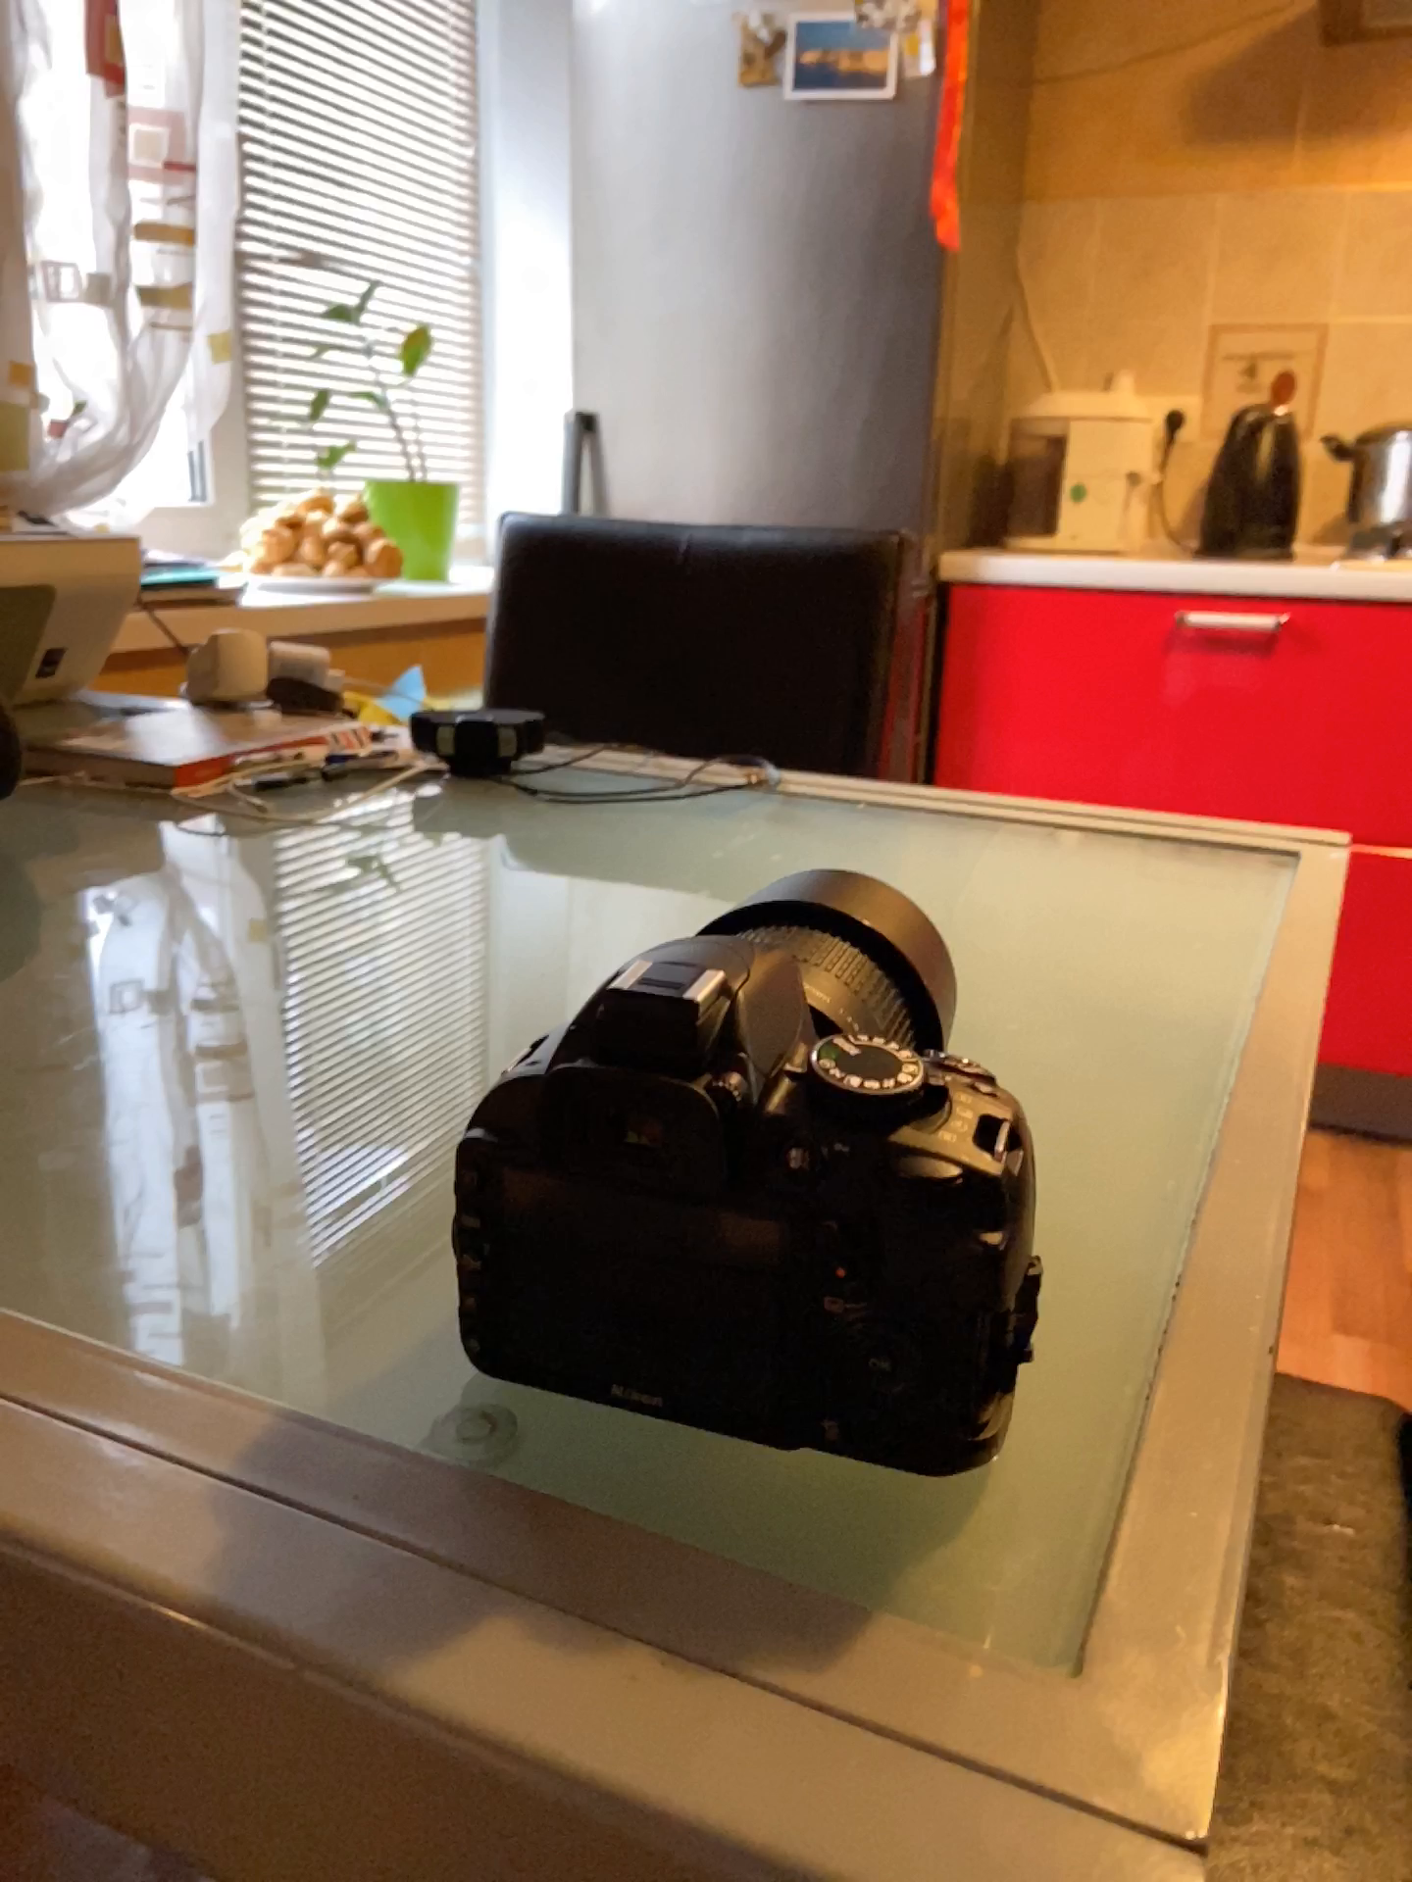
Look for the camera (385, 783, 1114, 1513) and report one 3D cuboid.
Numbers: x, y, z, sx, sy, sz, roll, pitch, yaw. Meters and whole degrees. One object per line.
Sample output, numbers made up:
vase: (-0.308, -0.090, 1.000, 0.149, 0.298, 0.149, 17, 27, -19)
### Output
camera: (0.029, 0.030, 0.391, 0.134, 0.100, 0.209, 7, 18, 17)
